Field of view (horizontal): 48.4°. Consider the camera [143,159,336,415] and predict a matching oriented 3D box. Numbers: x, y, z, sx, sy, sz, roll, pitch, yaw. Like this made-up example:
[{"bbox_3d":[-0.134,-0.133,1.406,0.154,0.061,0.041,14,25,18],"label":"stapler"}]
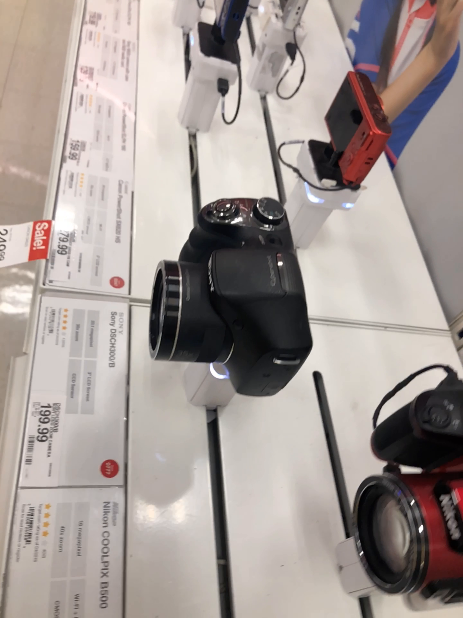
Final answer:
[{"bbox_3d":[-0.004,-0.012,0.338,0.090,0.090,0.131,7,54,-17],"label":"camera"}]
